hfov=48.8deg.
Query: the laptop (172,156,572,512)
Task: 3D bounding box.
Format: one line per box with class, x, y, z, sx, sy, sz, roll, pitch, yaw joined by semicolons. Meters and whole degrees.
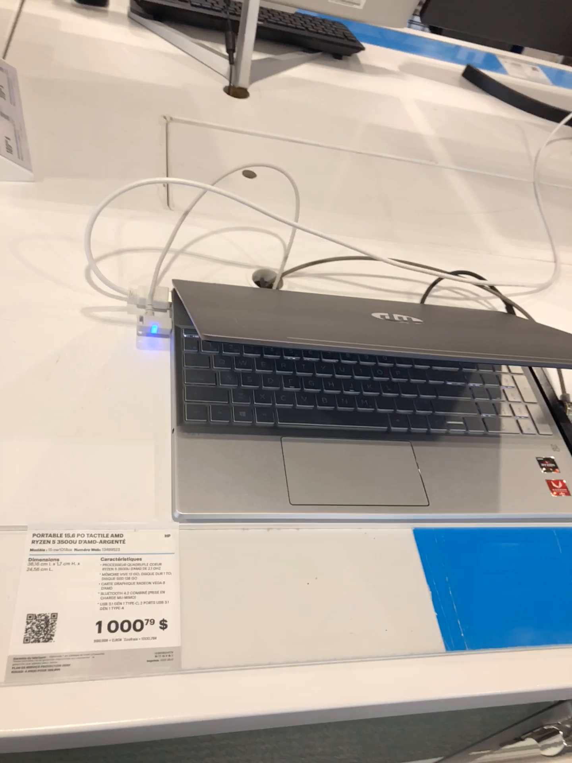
laptop;0.094;-0.032;0.507;0.350;0.134;0.231;4;49;-15
